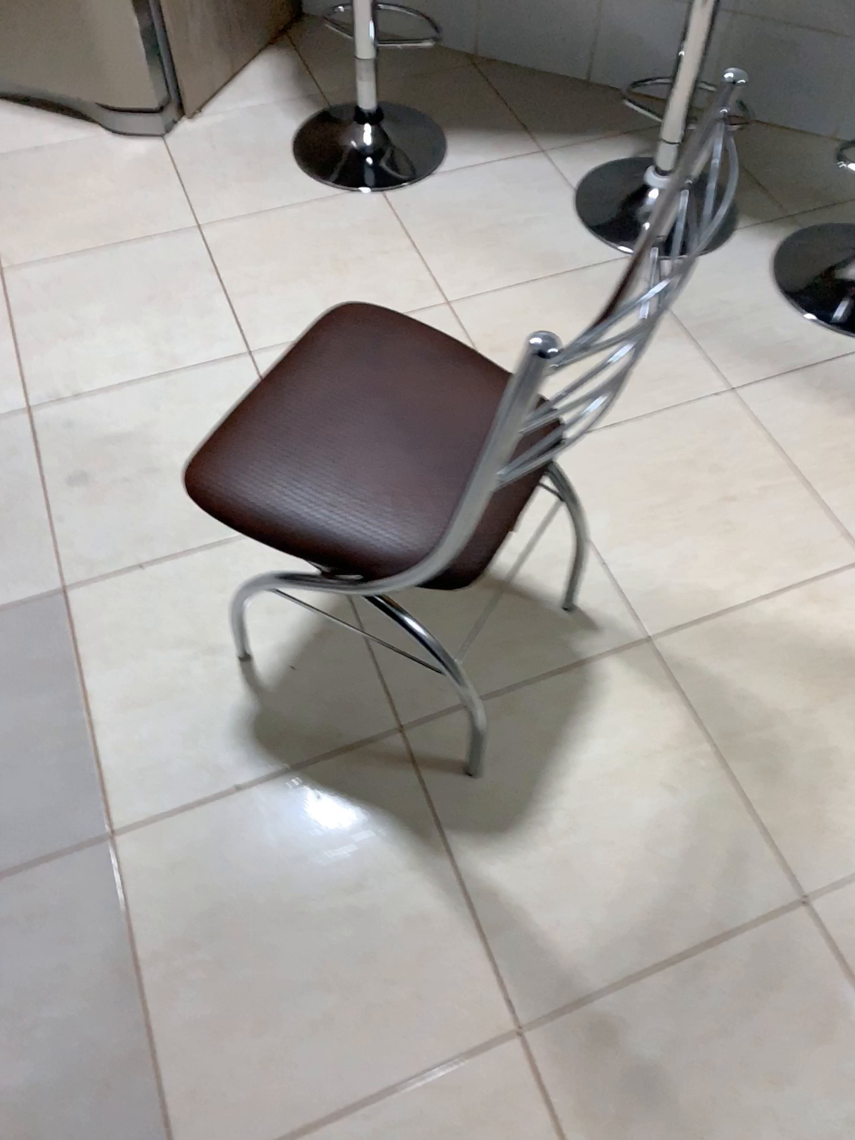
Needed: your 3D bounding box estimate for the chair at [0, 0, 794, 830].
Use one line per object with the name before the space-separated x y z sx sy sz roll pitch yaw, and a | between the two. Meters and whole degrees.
chair | -0.018 -0.123 1.048 0.483 0.873 0.420 26 60 15
